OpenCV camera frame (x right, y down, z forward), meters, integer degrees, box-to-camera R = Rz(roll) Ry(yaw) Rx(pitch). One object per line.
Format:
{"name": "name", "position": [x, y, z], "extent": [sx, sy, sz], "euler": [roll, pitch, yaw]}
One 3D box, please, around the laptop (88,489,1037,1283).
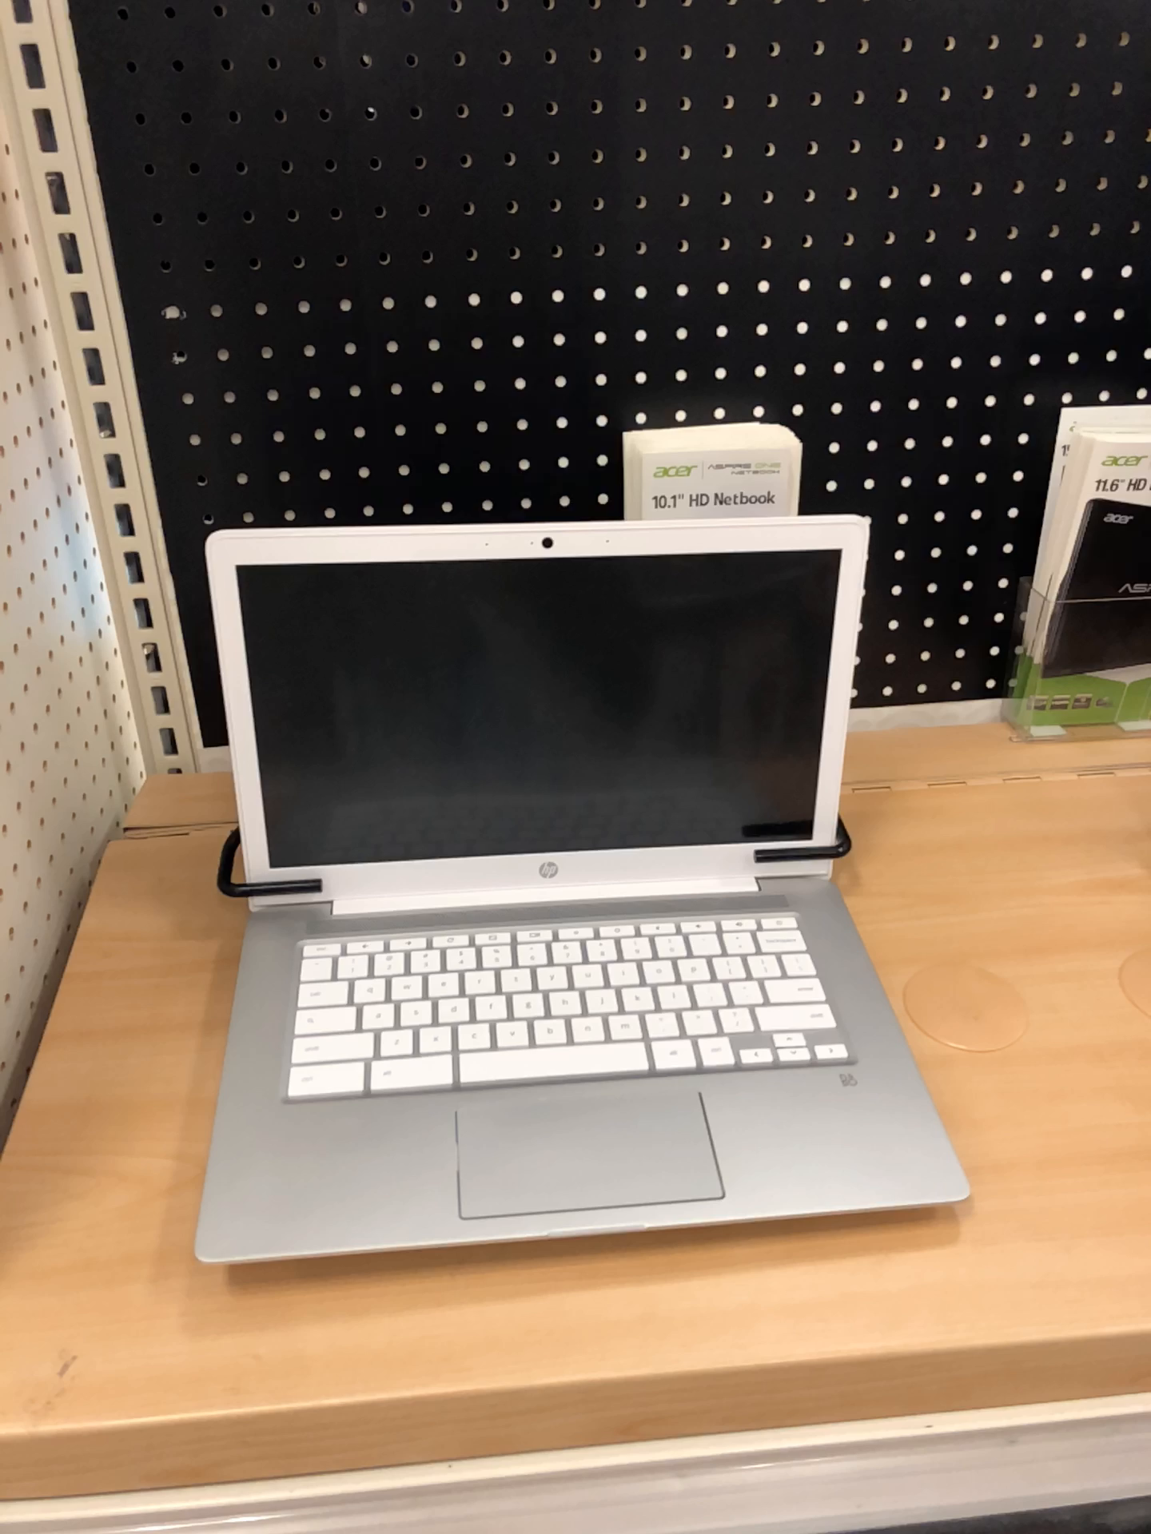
{"name": "laptop", "position": [-0.010, 0.028, 0.599], "extent": [0.333, 0.198, 0.281], "euler": [-4, 33, -7]}
